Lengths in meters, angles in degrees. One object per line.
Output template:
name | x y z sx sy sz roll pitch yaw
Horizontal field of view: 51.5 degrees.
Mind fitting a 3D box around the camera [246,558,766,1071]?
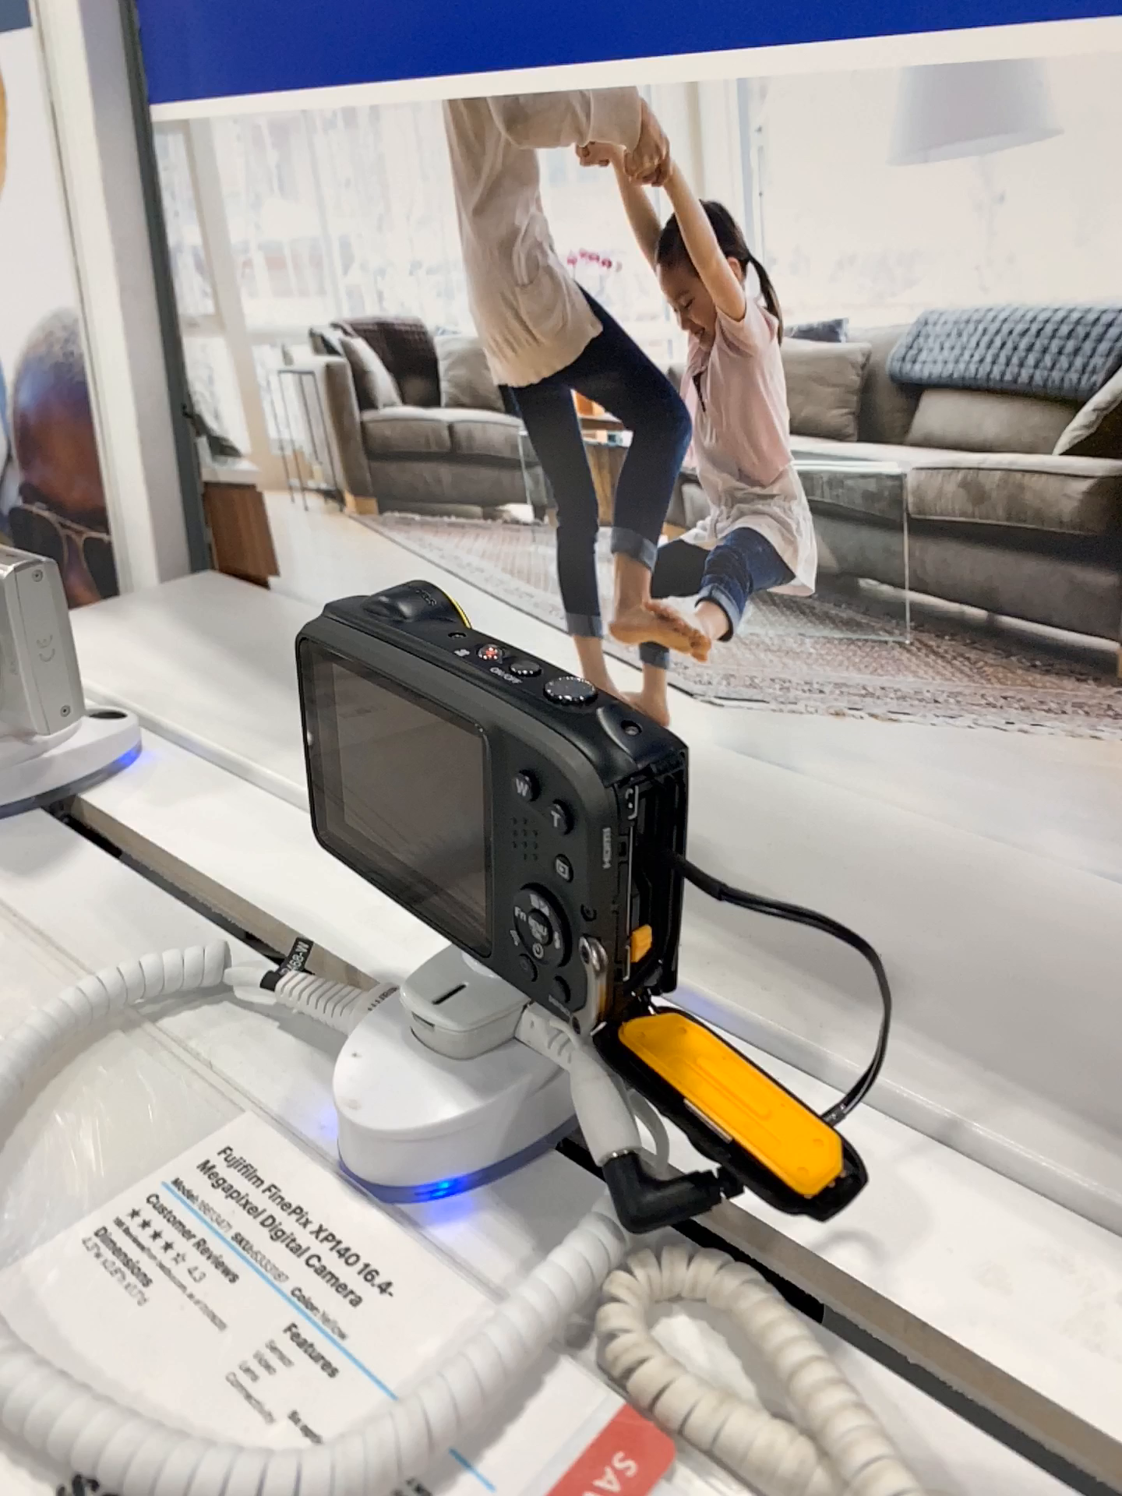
camera | -0.018 0.007 0.248 0.110 0.060 0.040 27 35 37
